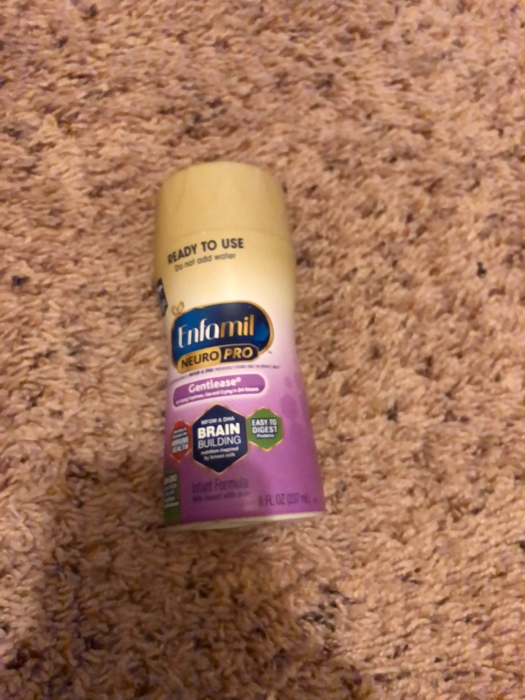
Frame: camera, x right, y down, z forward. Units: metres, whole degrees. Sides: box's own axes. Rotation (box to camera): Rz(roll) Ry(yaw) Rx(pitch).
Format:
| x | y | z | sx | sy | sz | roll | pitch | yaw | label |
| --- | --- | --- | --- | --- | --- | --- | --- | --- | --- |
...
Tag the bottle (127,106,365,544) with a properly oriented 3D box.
| x | y | z | sx | sy | sz | roll | pitch | yaw | label |
| --- | --- | --- | --- | --- | --- | --- | --- | --- | --- |
| -0.008 | -0.005 | 0.236 | 0.060 | 0.060 | 0.150 | -14 | 72 | 27 | bottle |
